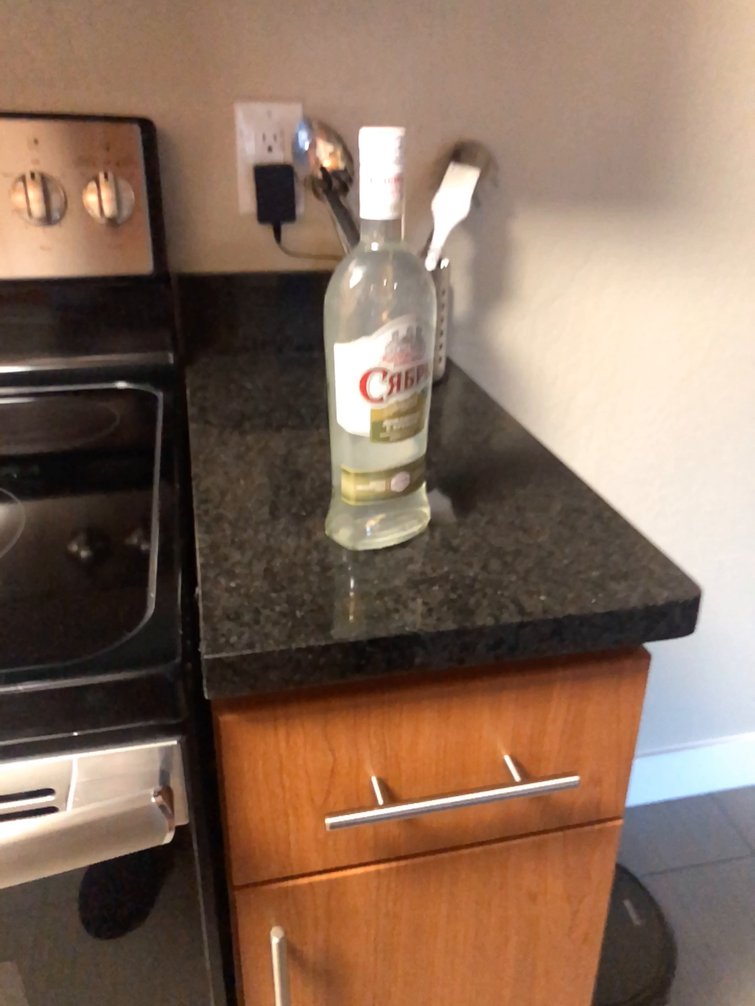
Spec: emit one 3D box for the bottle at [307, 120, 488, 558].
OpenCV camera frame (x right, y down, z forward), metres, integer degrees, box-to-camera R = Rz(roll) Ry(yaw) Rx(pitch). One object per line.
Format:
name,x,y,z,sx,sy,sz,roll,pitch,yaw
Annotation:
bottle,0.010,-0.106,0.553,0.090,0.269,0.060,-14,28,-30
